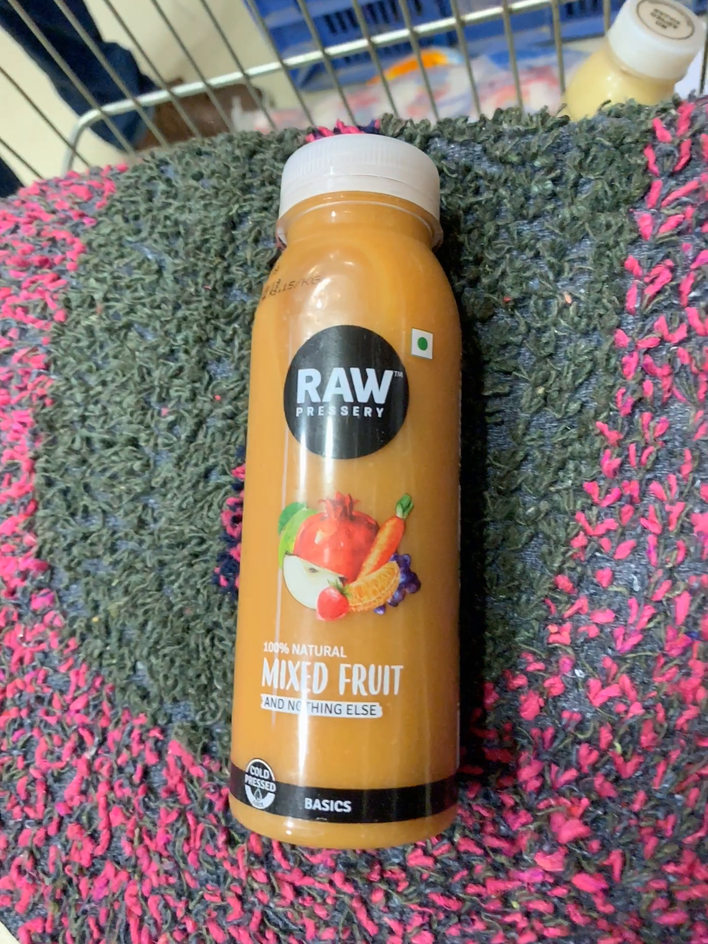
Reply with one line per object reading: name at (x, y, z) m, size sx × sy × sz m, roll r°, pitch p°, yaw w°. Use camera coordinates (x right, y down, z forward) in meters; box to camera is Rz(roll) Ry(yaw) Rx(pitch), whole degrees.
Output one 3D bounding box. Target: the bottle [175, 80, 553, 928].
bottle at (0.005, 0.003, 0.162) m, size 0.060 × 0.060 × 0.150 m, roll 3°, pitch 81°, yaw 2°
